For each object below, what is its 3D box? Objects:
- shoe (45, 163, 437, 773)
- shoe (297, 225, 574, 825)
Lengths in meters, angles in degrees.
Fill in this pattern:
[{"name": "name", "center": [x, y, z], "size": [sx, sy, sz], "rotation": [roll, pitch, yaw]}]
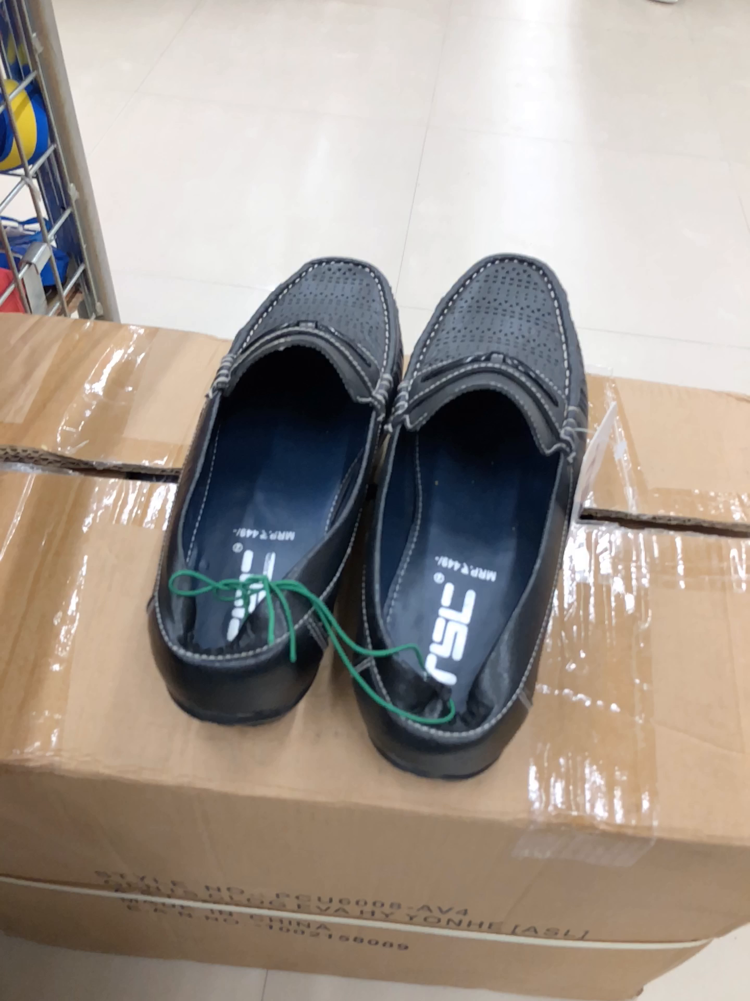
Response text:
[{"name": "shoe", "center": [-0.040, -0.041, 0.408], "size": [0.100, 0.089, 0.312], "rotation": [9, 50, 3]}, {"name": "shoe", "center": [0.043, -0.012, 0.428], "size": [0.100, 0.089, 0.312], "rotation": [9, 50, 3]}]
